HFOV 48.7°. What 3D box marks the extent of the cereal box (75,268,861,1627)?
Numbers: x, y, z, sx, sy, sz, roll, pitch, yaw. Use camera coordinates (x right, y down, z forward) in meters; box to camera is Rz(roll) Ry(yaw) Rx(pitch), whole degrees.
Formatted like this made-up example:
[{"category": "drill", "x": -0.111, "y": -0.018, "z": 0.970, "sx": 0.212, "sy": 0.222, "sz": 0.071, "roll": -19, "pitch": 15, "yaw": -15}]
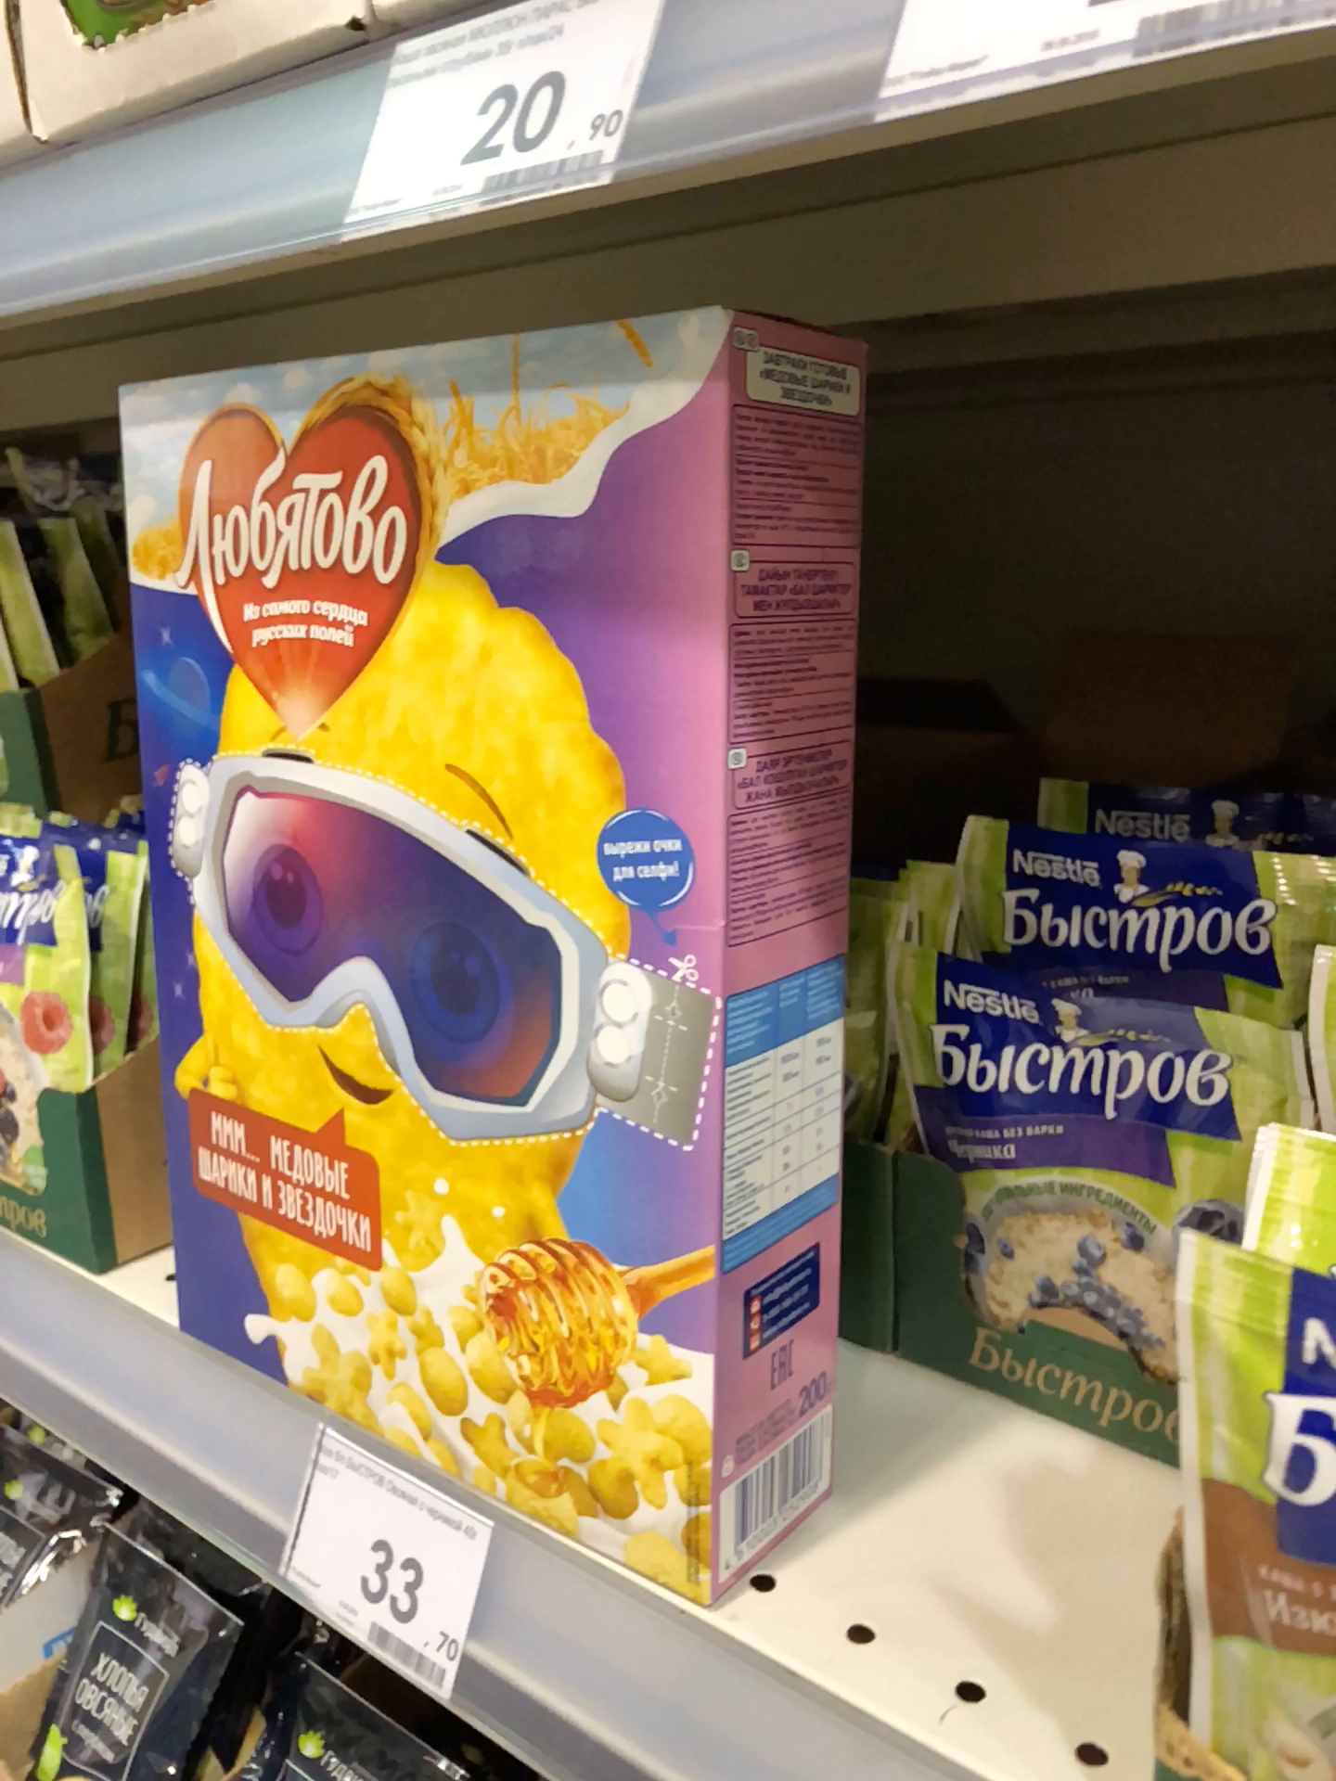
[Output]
[{"category": "cereal box", "x": -0.056, "y": 0.005, "z": 0.355, "sx": 0.200, "sy": 0.259, "sz": 0.050, "roll": 9, "pitch": 14, "yaw": 38}]
